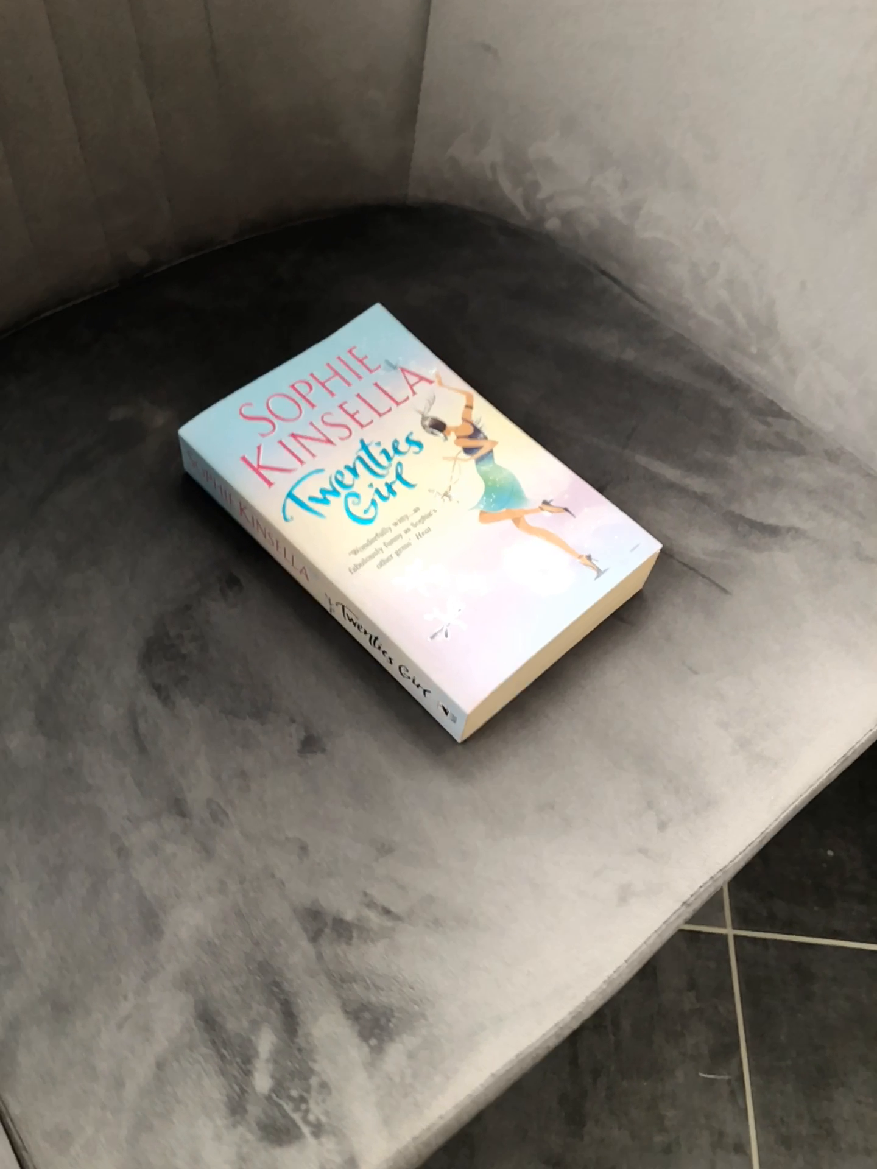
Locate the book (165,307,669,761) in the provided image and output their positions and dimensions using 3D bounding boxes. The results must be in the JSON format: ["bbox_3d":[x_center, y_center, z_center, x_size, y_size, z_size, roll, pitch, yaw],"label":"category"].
[{"bbox_3d":[-0.013,-0.035,0.464,0.132,0.043,0.200,-37,68,-27],"label":"book"}]
